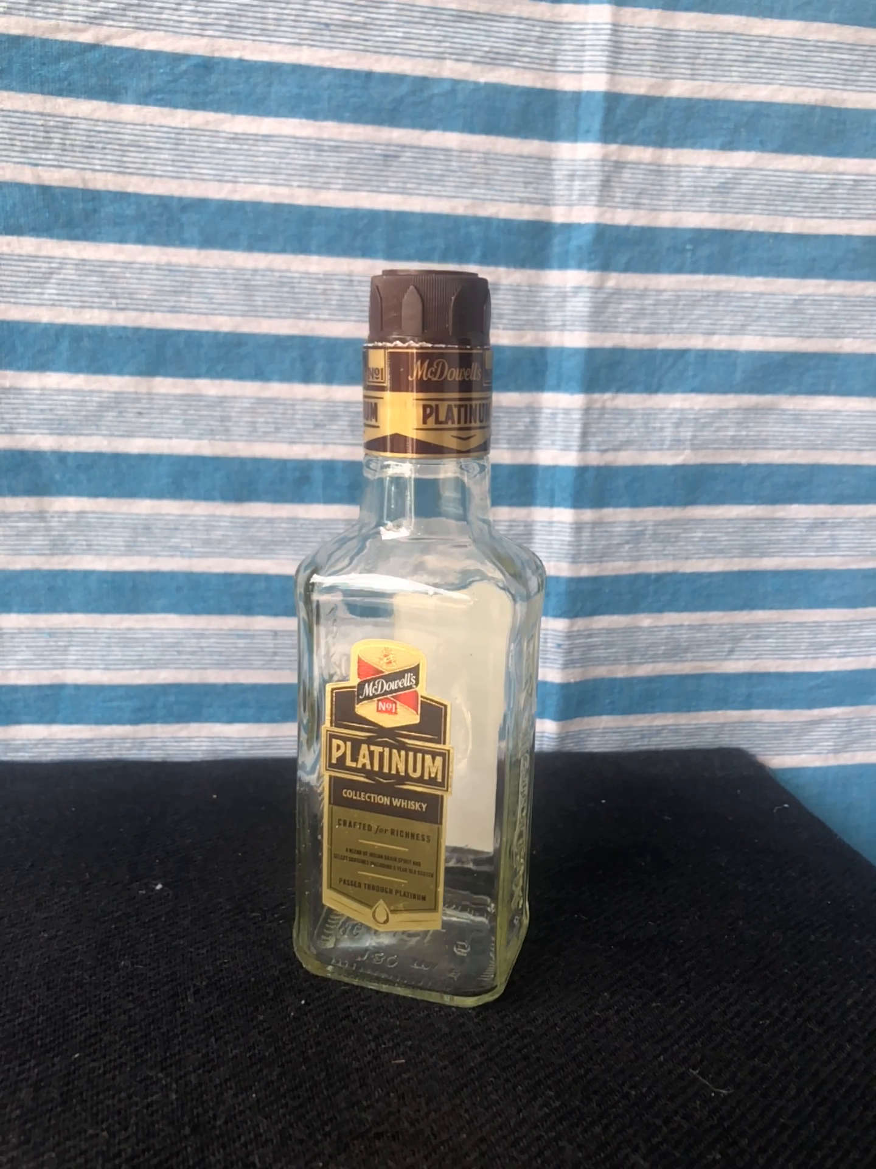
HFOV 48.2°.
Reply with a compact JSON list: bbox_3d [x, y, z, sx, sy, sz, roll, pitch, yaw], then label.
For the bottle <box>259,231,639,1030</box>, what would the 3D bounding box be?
[{"bbox_3d":[0.001,0.009,0.204,0.060,0.149,0.040,8,15,12],"label":"bottle"}]
